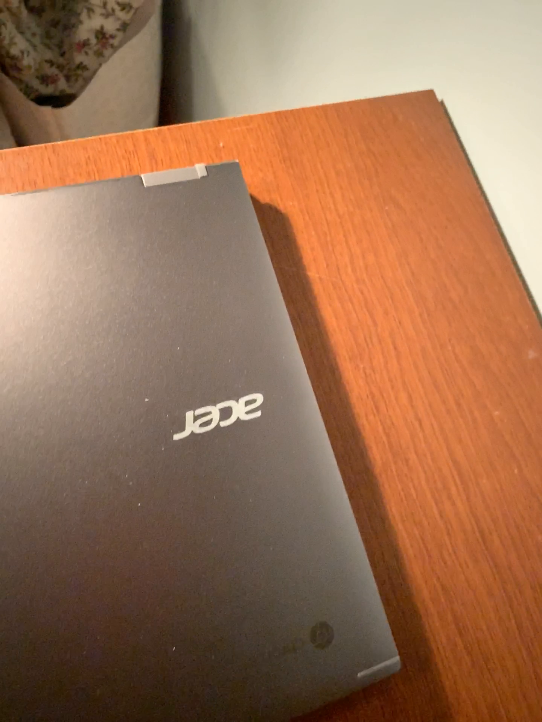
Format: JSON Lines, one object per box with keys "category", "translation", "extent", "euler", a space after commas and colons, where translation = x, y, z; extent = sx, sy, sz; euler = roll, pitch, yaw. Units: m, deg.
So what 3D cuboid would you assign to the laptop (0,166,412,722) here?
{"category": "laptop", "translation": [-0.118, 0.048, 0.209], "extent": [0.299, 0.002, 0.232], "euler": [-13, 77, -15]}
